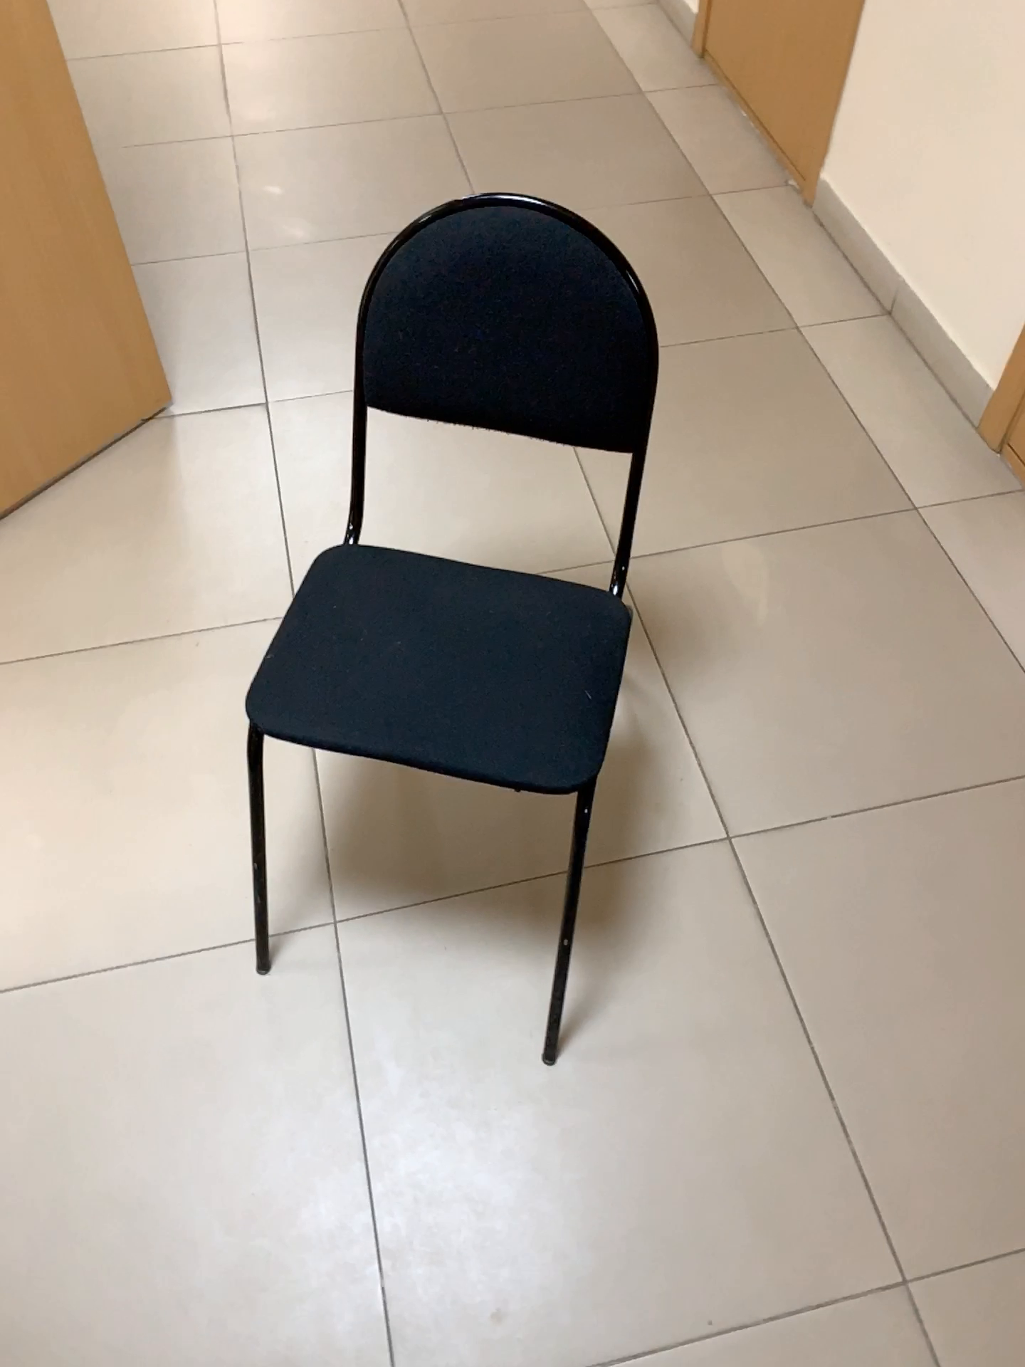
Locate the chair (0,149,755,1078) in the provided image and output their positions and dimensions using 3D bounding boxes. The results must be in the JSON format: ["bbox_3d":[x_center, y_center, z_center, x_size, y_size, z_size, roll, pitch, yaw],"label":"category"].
[{"bbox_3d":[-0.065,-0.056,1.244,0.480,0.774,0.695,12,53,9],"label":"chair"}]
